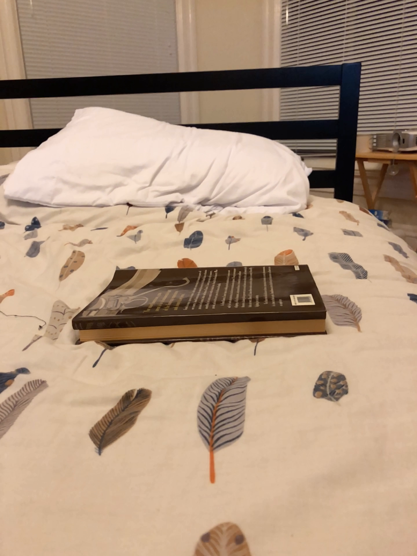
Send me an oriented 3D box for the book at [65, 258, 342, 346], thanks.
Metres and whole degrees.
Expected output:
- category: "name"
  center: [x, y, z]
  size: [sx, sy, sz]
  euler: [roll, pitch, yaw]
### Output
- category: "book"
  center: [0.000, 0.018, 0.486]
  size: [0.240, 0.030, 0.181]
  euler: [0, 17, 5]
